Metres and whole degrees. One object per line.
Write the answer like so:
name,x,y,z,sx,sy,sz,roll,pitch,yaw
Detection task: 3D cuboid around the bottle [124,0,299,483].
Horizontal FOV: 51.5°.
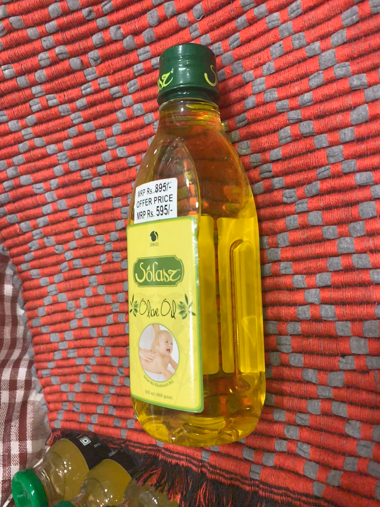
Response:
bottle,0.010,-0.012,0.216,0.070,0.060,0.220,-4,84,42
